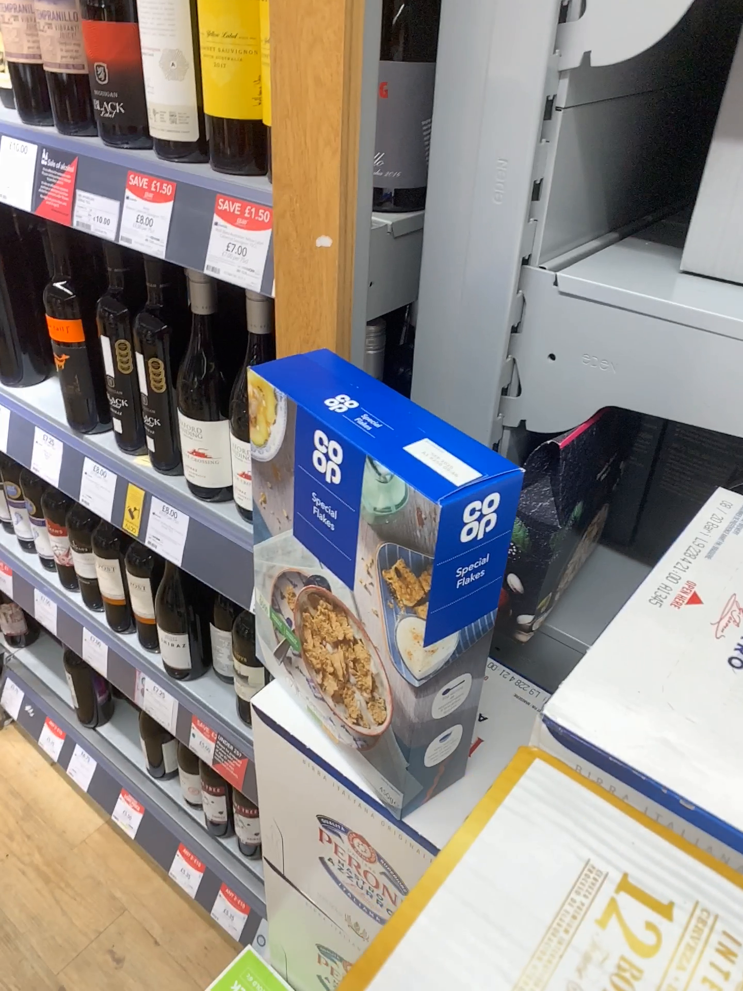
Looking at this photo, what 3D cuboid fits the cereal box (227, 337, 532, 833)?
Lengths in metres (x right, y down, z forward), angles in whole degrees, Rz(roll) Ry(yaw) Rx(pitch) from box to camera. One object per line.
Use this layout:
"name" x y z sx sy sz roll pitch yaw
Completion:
"cereal box" -0.010 0.059 0.521 0.070 0.267 0.201 -22 41 -32
